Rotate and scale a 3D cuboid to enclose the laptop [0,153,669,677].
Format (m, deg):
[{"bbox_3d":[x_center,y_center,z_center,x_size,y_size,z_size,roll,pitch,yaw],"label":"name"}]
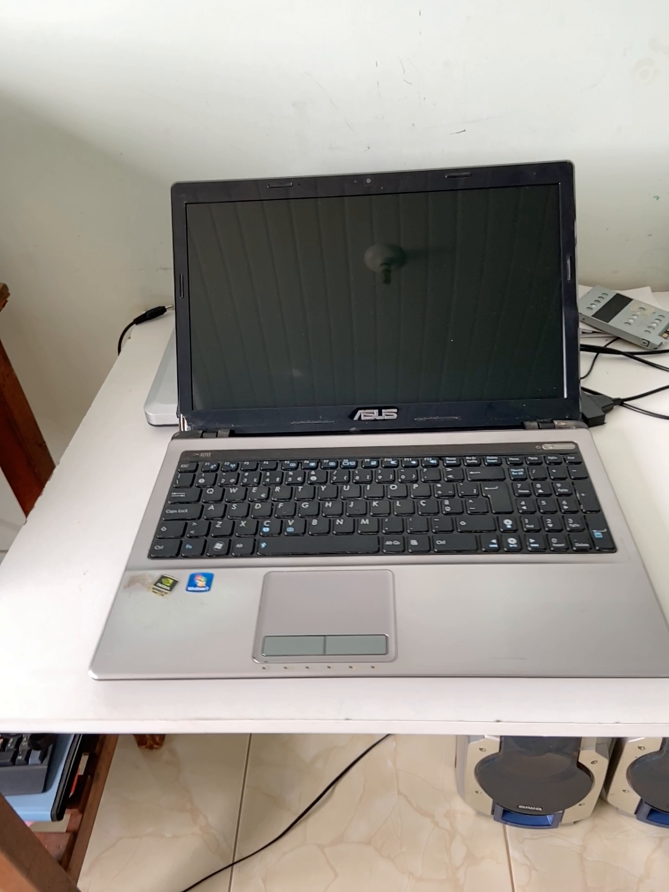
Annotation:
[{"bbox_3d":[0.024,-0.058,0.540,0.376,0.179,0.418,-2,40,5],"label":"laptop"}]
